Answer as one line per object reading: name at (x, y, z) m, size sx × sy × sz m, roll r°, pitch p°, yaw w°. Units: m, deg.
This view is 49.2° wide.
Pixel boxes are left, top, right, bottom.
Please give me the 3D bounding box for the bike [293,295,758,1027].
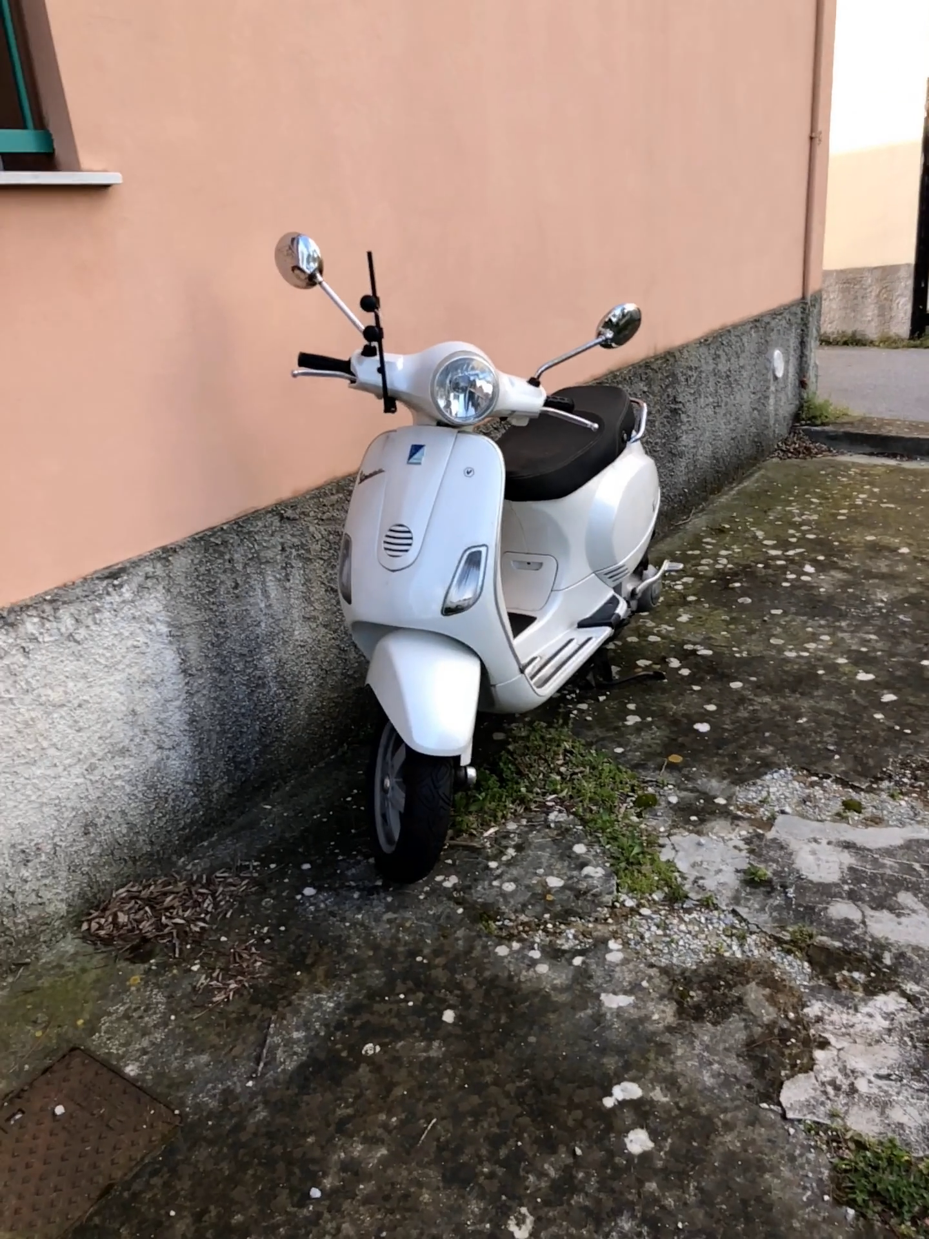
bike at (0.314, -0.122, 2.581) m, size 0.645 × 1.085 × 1.664 m, roll 3°, pitch 24°, yaw 23°
